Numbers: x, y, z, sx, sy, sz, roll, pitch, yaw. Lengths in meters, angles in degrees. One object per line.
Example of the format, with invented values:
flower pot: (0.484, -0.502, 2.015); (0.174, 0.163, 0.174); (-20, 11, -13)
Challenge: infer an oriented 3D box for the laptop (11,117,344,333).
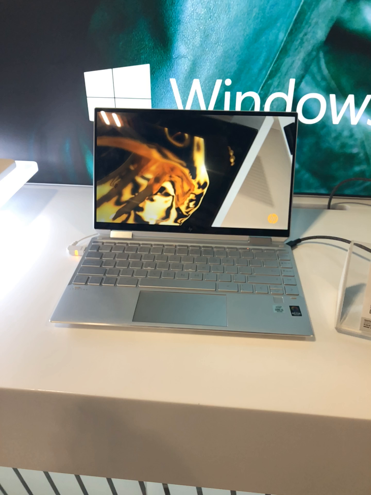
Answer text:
laptop: (-0.003, -0.045, 0.508); (0.281, 0.194, 0.241); (3, 27, 3)
